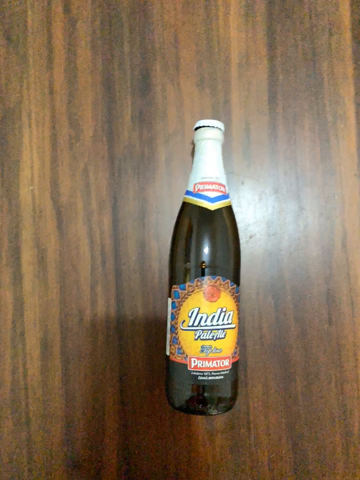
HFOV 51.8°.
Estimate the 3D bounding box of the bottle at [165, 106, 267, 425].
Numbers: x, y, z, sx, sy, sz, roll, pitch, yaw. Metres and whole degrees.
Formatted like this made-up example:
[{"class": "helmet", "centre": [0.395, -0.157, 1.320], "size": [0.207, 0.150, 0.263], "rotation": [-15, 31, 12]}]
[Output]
[{"class": "bottle", "centre": [0.030, 0.020, 0.336], "size": [0.080, 0.060, 0.260], "rotation": [1, 86, -6]}]
